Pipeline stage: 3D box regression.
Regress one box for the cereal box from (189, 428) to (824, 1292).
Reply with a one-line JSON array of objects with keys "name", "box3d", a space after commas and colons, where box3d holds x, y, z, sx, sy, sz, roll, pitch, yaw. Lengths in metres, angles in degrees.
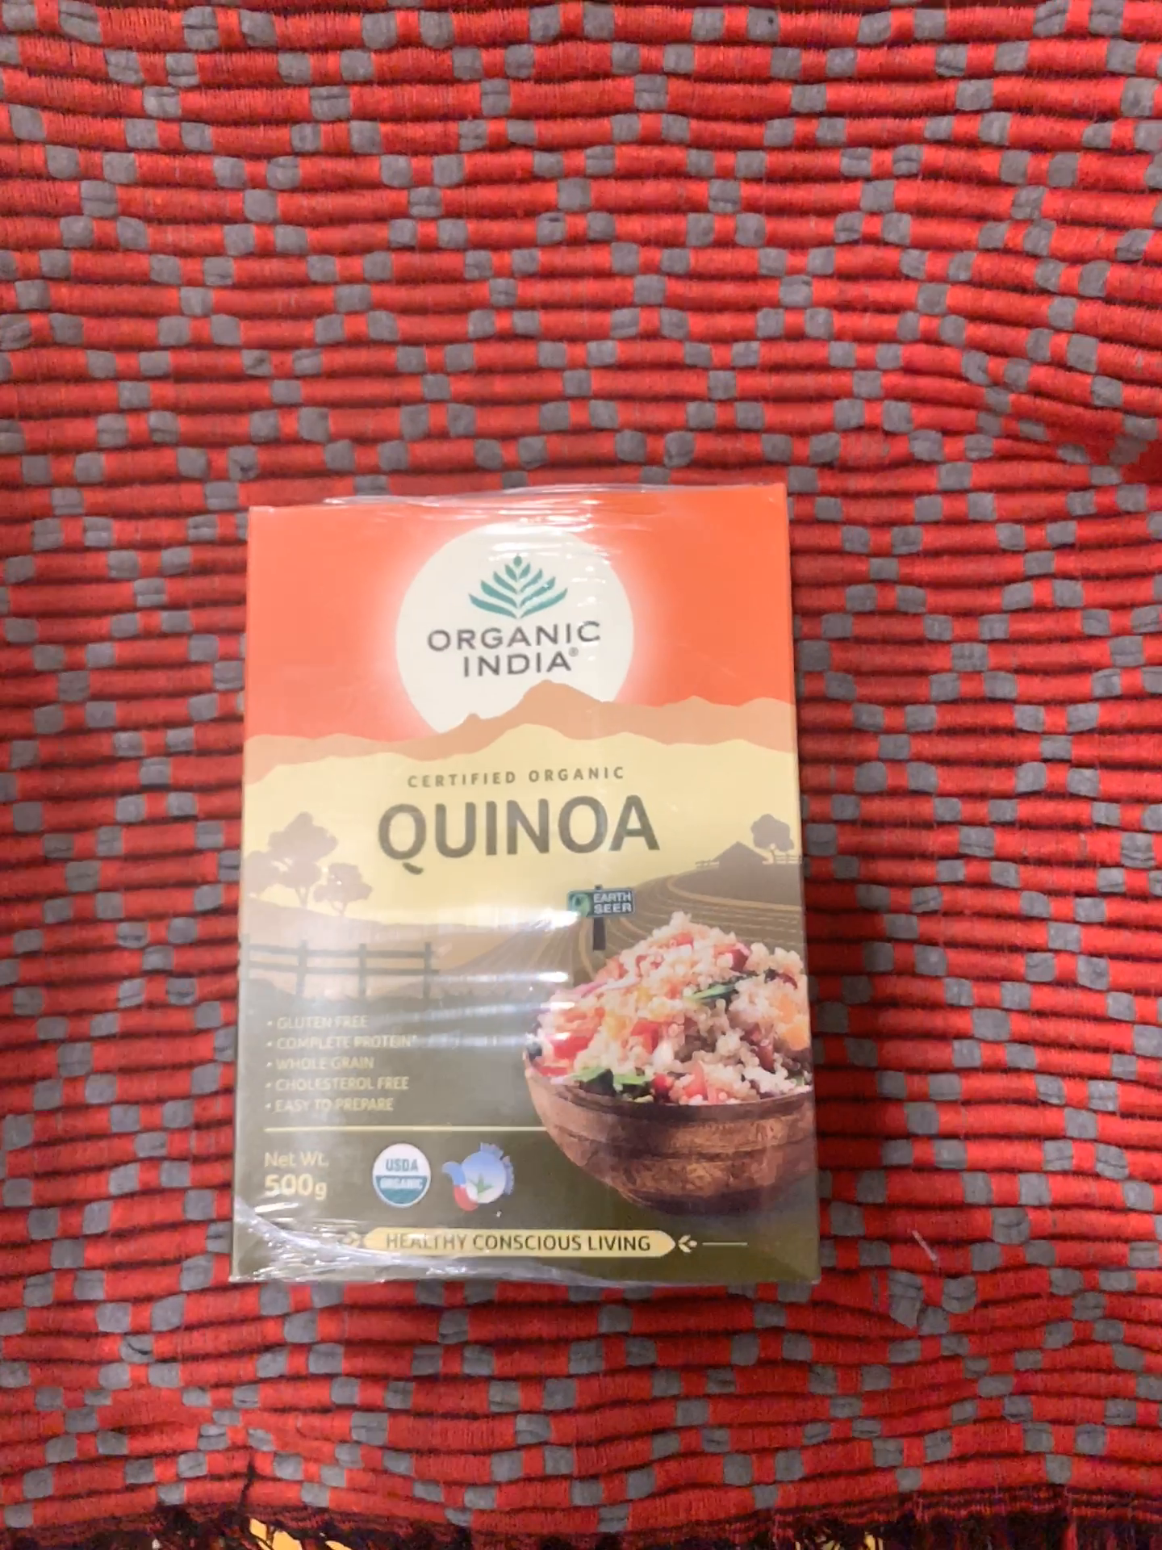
[{"name": "cereal box", "box3d": [-0.016, 0.020, 0.291, 0.130, 0.070, 0.180, -2, 83, 4]}]
